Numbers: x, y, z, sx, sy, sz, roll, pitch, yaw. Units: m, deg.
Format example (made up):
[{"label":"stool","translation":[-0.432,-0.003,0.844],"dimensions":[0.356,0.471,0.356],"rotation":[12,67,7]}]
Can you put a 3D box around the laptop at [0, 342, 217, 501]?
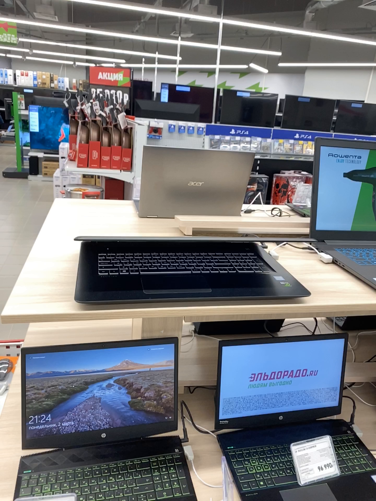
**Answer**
[{"label":"laptop","translation":[-0.166,0.373,0.776],"dimensions":[0.343,0.220,0.316],"rotation":[1,18,-16]}]

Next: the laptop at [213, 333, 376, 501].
[{"label":"laptop","translation":[0.277,0.378,0.869],"dimensions":[0.353,0.226,0.300],"rotation":[0,19,-13]}]

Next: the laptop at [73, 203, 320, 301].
[{"label":"laptop","translation":[-0.003,-0.011,0.743],"dimensions":[0.404,0.083,0.272],"rotation":[0,21,-13]}]
